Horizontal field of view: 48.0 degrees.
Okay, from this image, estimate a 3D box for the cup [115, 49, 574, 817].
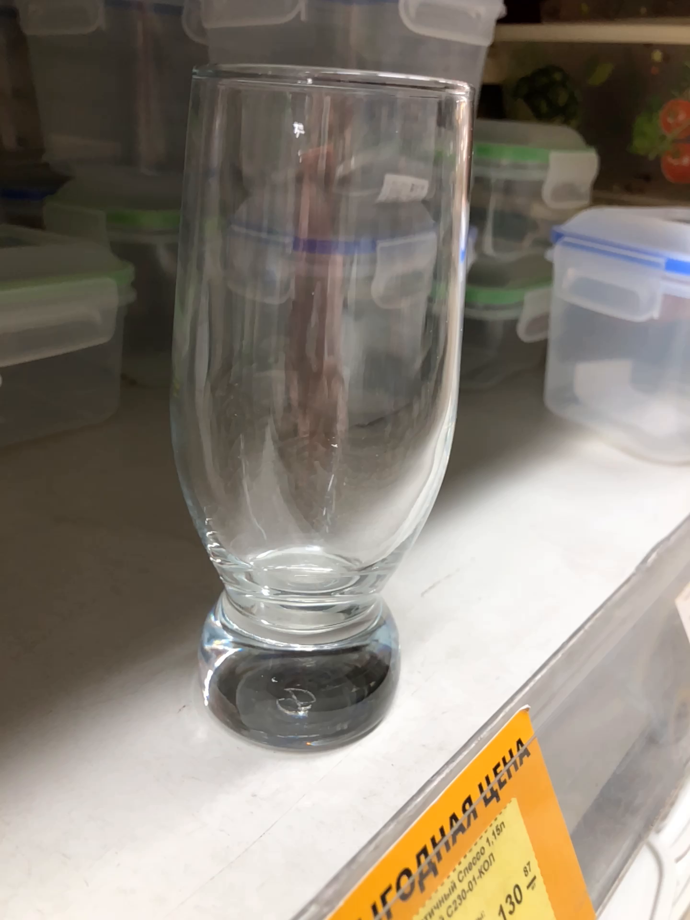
[{"bbox_3d":[-0.007,-0.009,0.178,0.057,0.146,0.069,-18,32,-42],"label":"cup"}]
